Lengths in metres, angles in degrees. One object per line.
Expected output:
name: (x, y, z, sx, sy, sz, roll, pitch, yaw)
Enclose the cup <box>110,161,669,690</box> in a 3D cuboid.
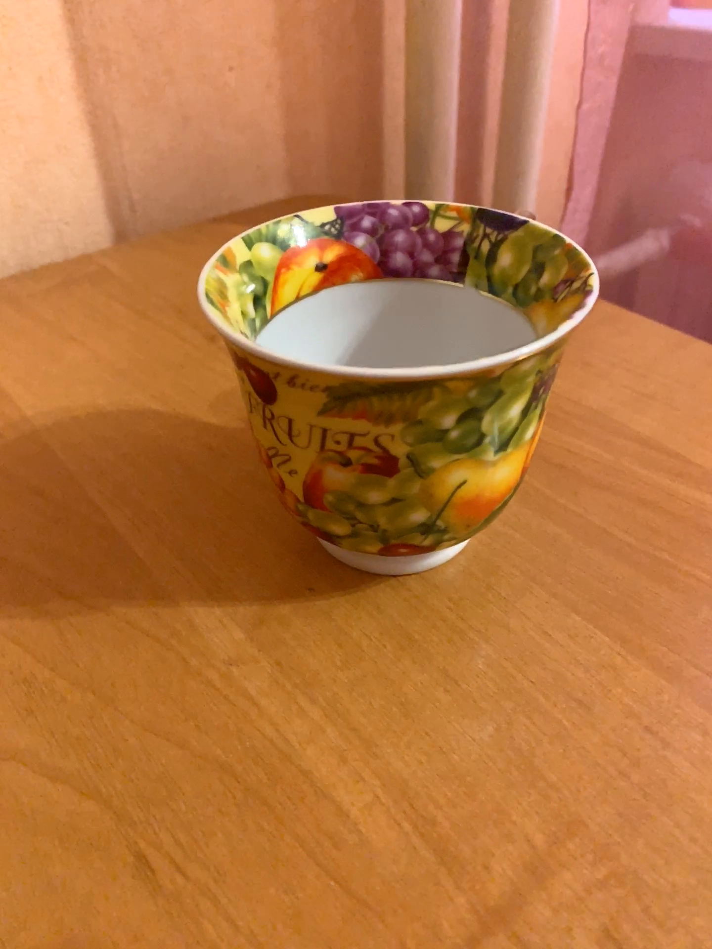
cup: (0.015, -0.024, 0.190, 0.086, 0.071, 0.106, 19, 43, 25)
